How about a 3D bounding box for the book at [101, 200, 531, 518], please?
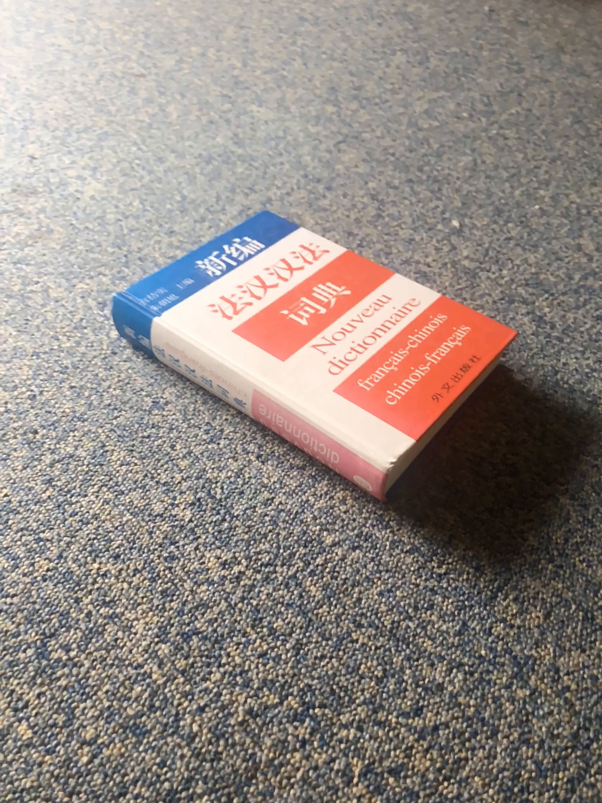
[{"bbox_3d":[0.009,-0.044,0.410,0.208,0.034,0.153,32,51,23],"label":"book"}]
